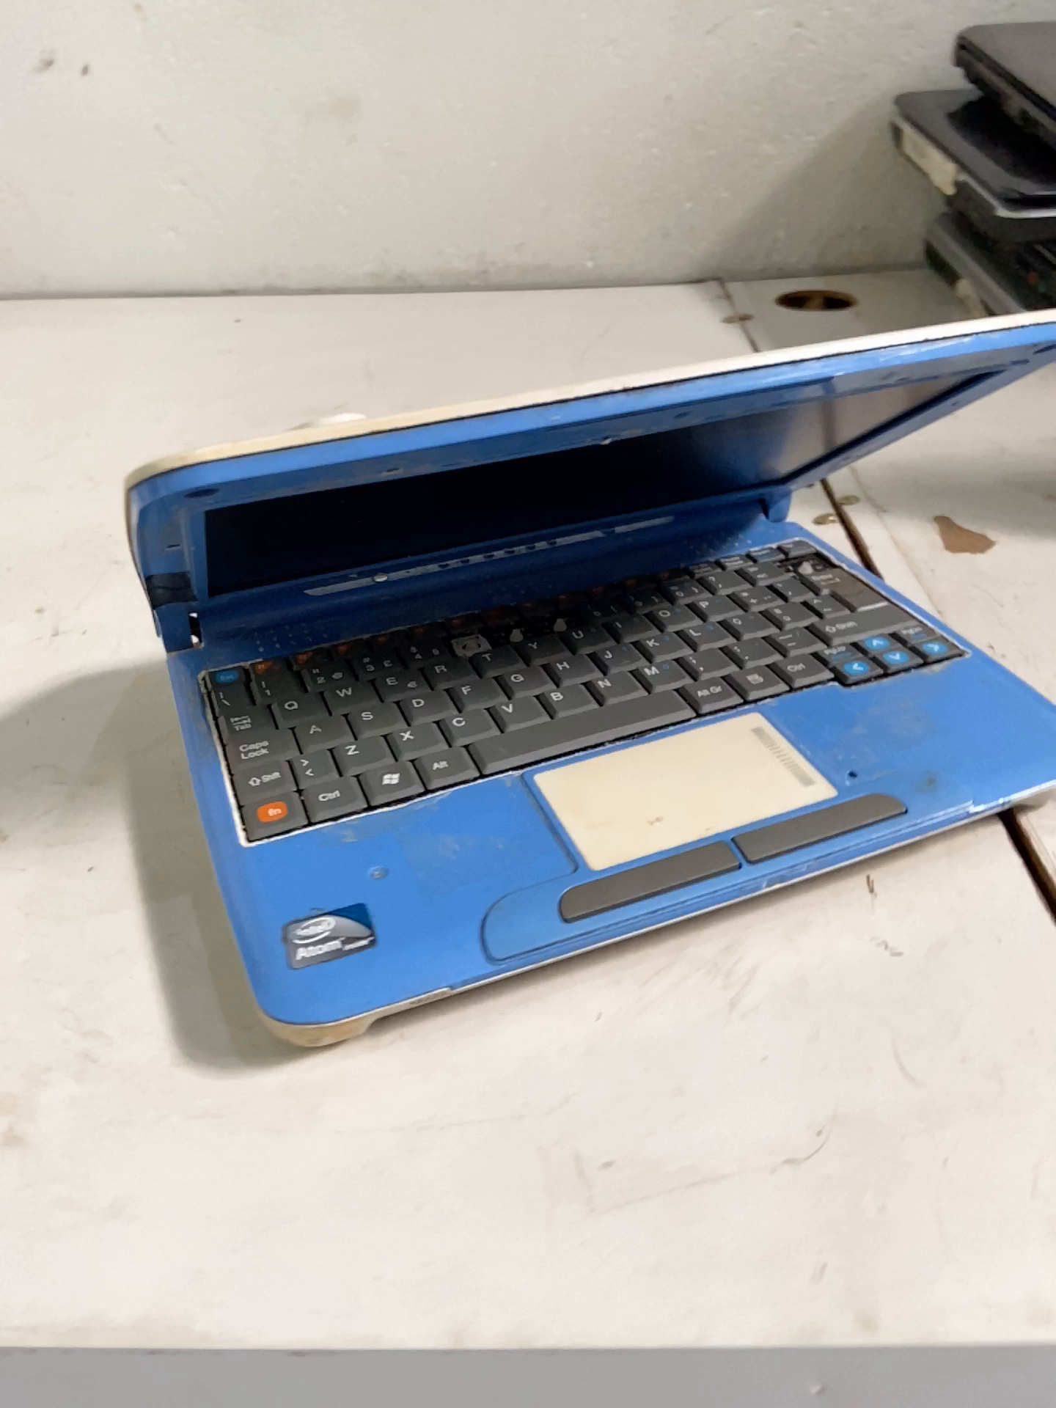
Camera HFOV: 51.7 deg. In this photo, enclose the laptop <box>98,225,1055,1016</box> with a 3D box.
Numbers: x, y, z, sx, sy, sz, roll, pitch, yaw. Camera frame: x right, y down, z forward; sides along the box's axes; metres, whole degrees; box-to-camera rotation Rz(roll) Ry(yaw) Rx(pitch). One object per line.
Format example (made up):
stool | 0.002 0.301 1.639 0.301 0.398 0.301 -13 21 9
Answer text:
laptop | 0.020 -0.050 0.325 0.247 0.116 0.182 -14 36 -15
